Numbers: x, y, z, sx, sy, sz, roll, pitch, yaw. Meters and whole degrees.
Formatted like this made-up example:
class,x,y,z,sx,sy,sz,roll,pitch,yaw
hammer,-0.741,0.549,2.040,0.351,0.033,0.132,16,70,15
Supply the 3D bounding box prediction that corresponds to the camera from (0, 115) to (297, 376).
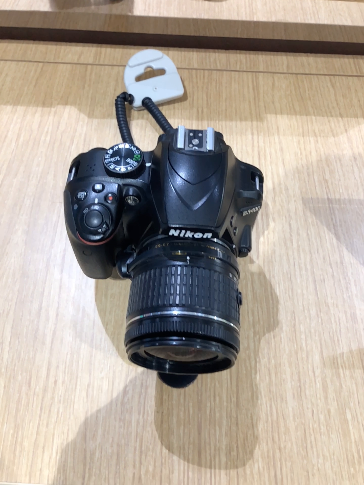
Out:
class,x,y,z,sx,sy,sz,roll,pitch,yaw
camera,-0.018,0.004,0.234,0.133,0.084,0.120,2,60,-1
